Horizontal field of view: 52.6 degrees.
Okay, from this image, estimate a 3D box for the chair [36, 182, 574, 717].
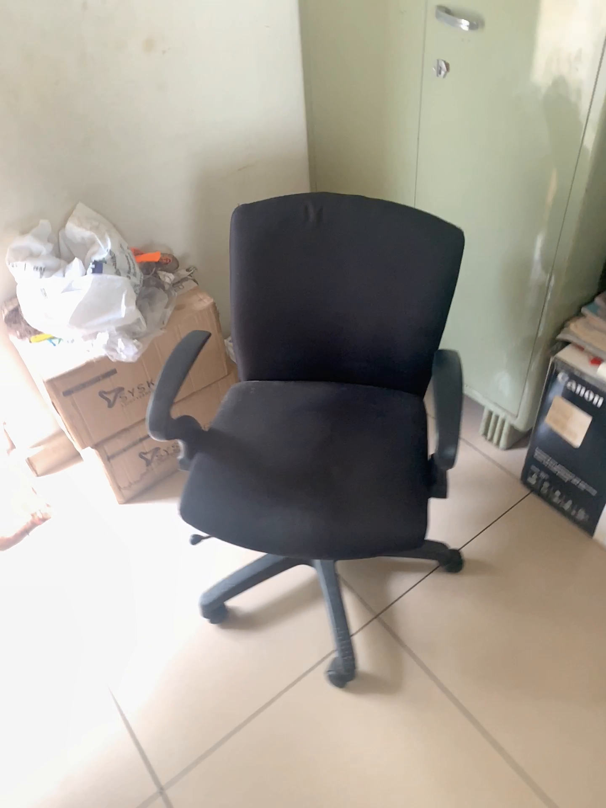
[{"bbox_3d":[0.057,0.113,1.359,0.700,0.926,0.703,2,44,8],"label":"chair"}]
